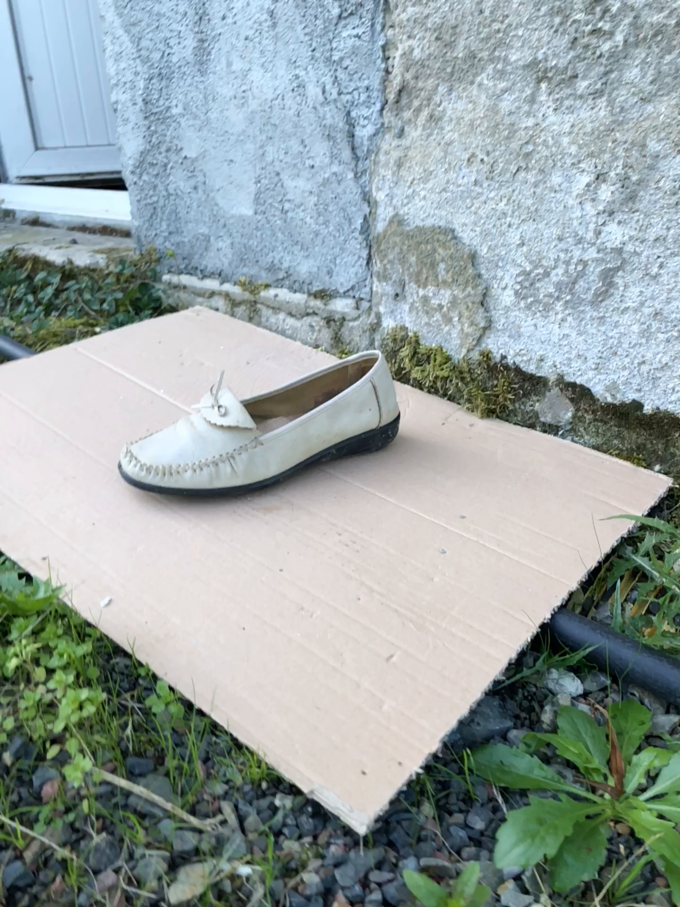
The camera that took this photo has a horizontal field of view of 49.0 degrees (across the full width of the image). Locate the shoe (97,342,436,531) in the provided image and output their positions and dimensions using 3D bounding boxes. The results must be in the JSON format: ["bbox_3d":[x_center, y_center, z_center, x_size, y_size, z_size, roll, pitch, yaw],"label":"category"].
[{"bbox_3d":[-0.057,-0.024,0.631,0.261,0.080,0.100,-13,26,-21],"label":"shoe"}]
